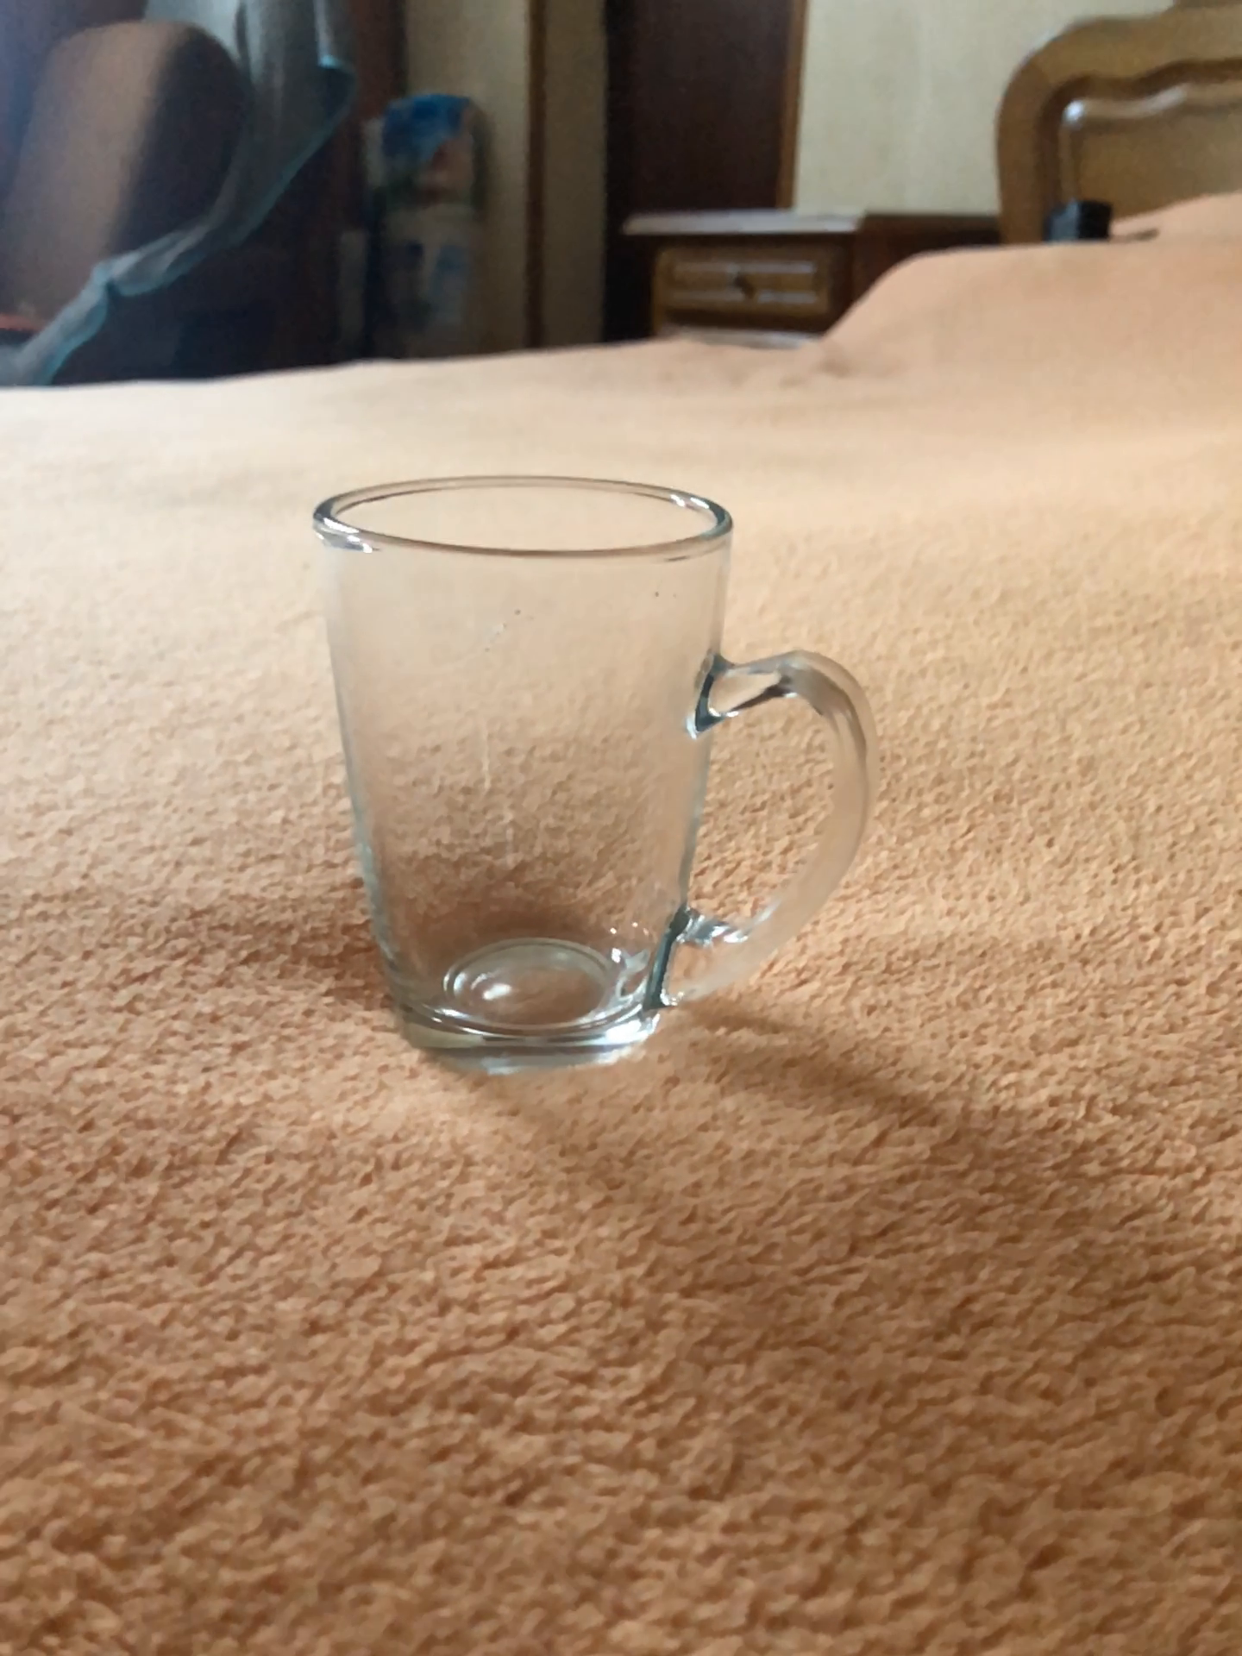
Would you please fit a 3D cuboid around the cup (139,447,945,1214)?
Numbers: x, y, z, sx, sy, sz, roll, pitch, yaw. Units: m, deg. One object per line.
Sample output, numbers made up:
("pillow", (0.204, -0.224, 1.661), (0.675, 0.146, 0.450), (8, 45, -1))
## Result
("cup", (-0.009, -0.008, 0.223), (0.100, 0.090, 0.070), (10, 23, 19))
